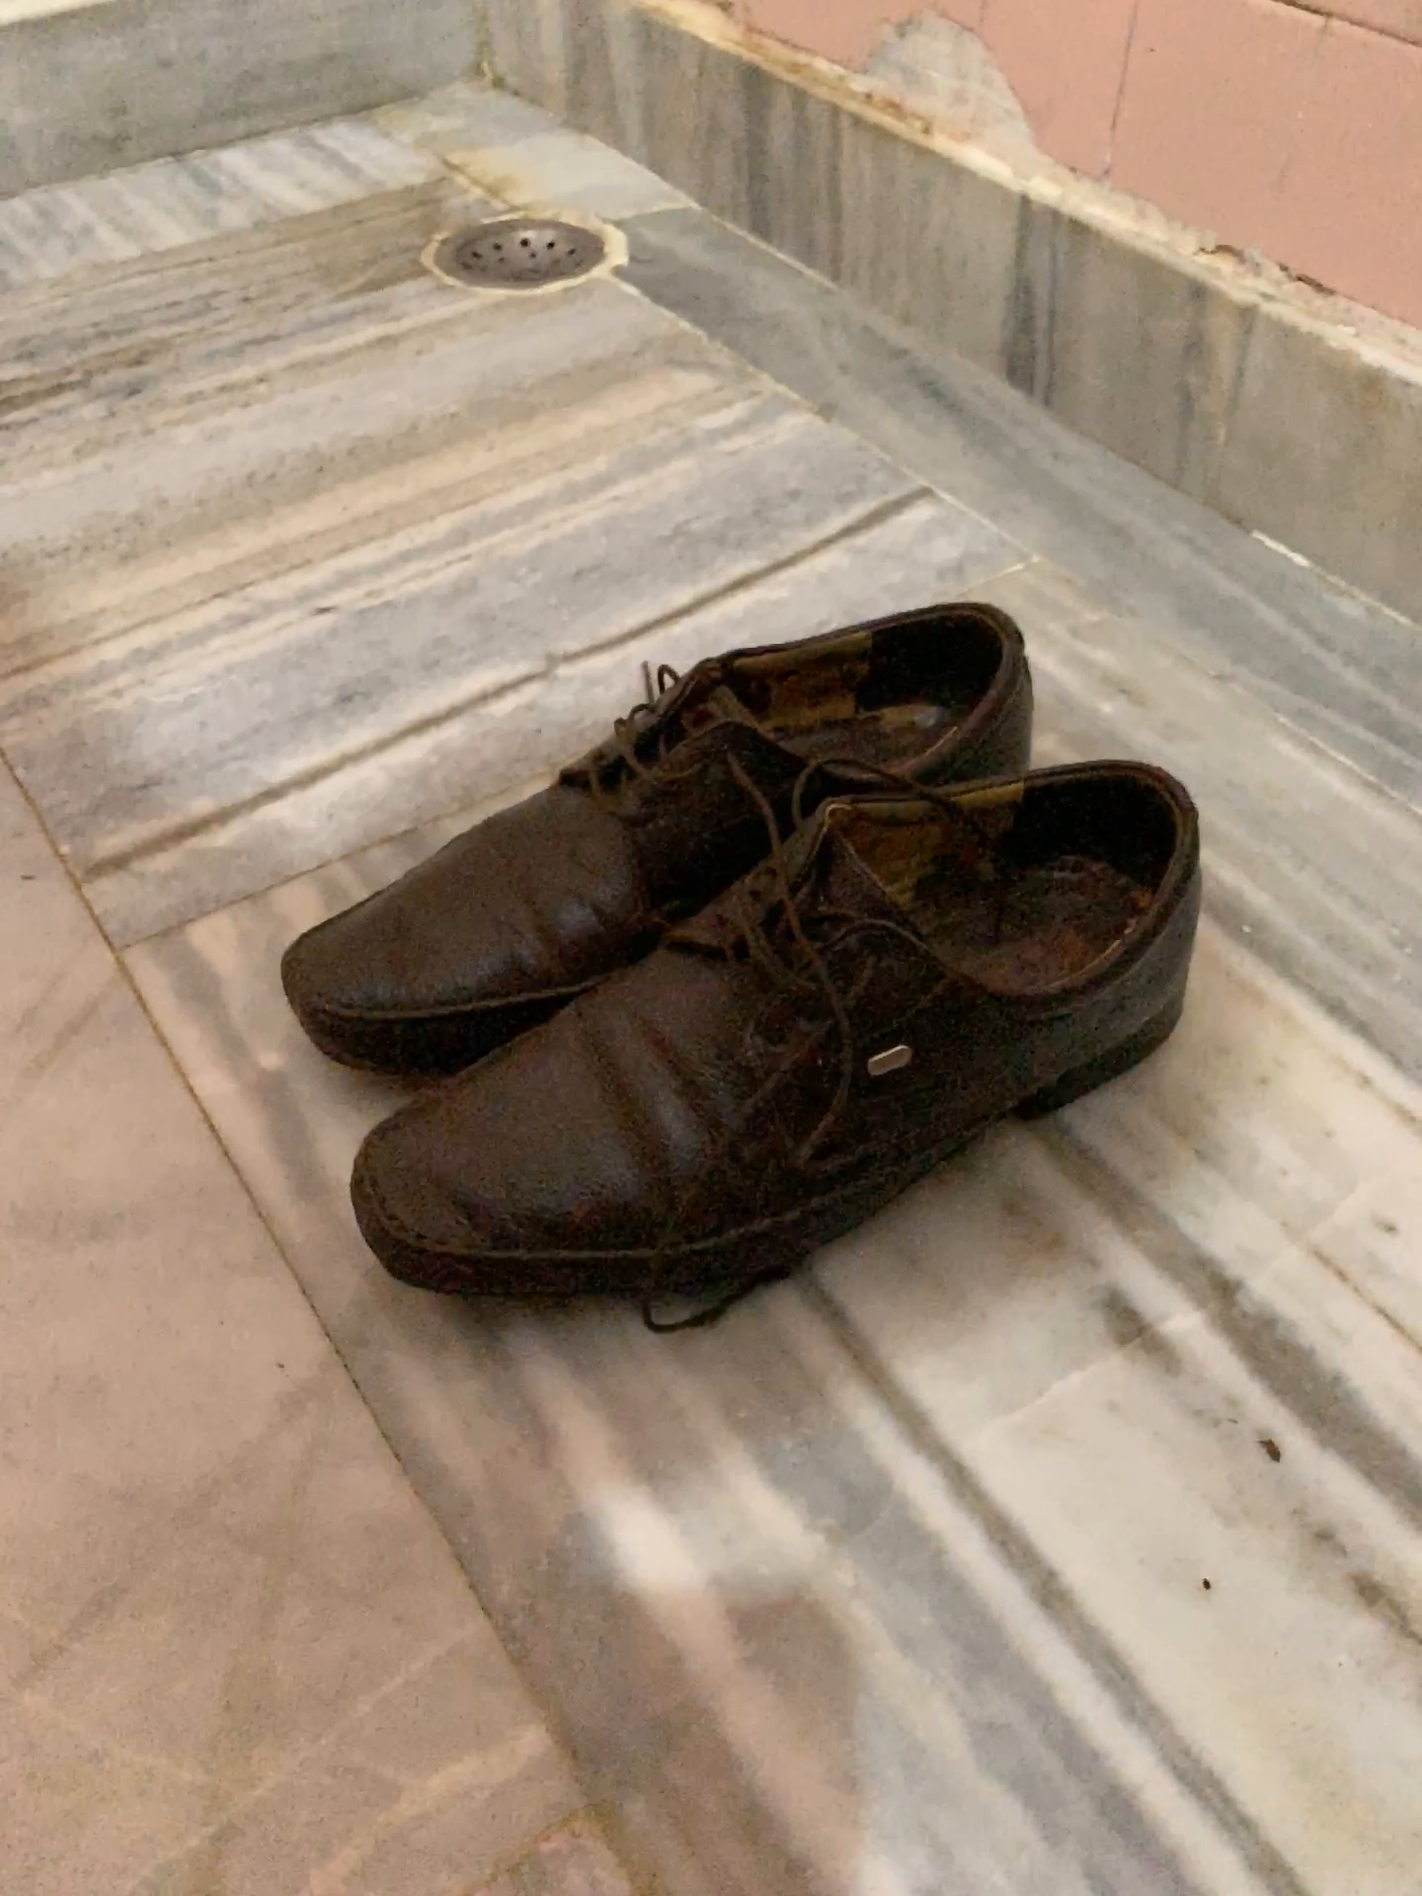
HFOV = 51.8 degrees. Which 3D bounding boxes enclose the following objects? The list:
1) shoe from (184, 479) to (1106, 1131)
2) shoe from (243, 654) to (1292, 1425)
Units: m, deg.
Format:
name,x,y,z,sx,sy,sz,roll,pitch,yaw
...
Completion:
name,x,y,z,sx,sy,sz,roll,pitch,yaw
shoe,-0.017,-0.057,0.514,0.282,0.110,0.100,-21,51,-18
shoe,0.020,0.020,0.454,0.282,0.110,0.100,-21,51,-18
